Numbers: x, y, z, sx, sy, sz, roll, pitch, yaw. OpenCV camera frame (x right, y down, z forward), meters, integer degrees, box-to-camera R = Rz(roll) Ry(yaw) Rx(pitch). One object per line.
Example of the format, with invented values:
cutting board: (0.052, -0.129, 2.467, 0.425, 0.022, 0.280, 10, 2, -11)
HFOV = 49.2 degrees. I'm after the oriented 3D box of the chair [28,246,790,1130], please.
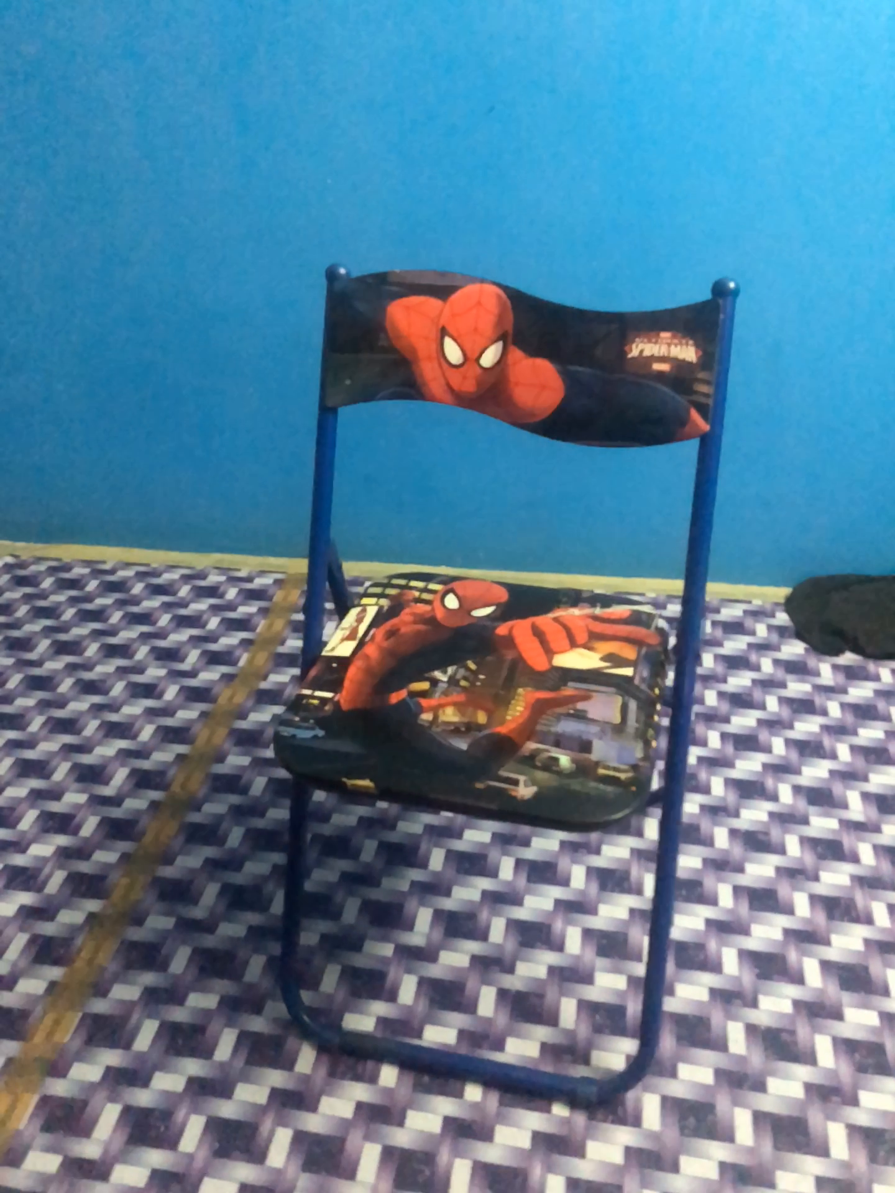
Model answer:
chair: (0.023, 0.060, 1.052, 0.510, 0.686, 0.563, 6, 34, 11)
